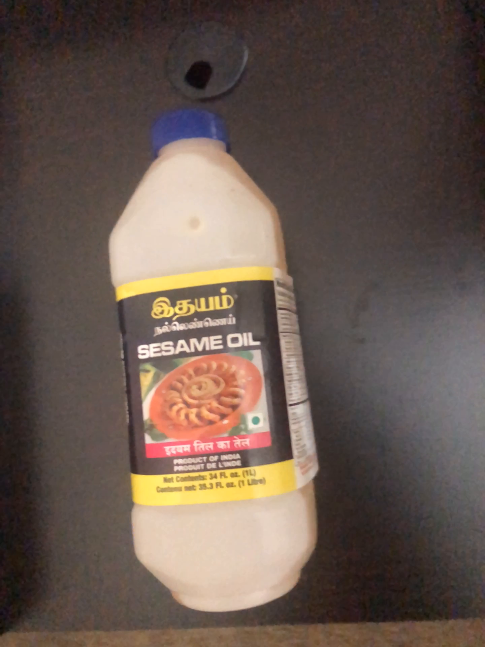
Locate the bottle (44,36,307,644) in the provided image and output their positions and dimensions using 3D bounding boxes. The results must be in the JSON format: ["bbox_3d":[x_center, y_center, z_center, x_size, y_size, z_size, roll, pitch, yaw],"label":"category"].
[{"bbox_3d":[-0.028,0.008,0.274,0.090,0.090,0.250,-6,83,10],"label":"bottle"}]
